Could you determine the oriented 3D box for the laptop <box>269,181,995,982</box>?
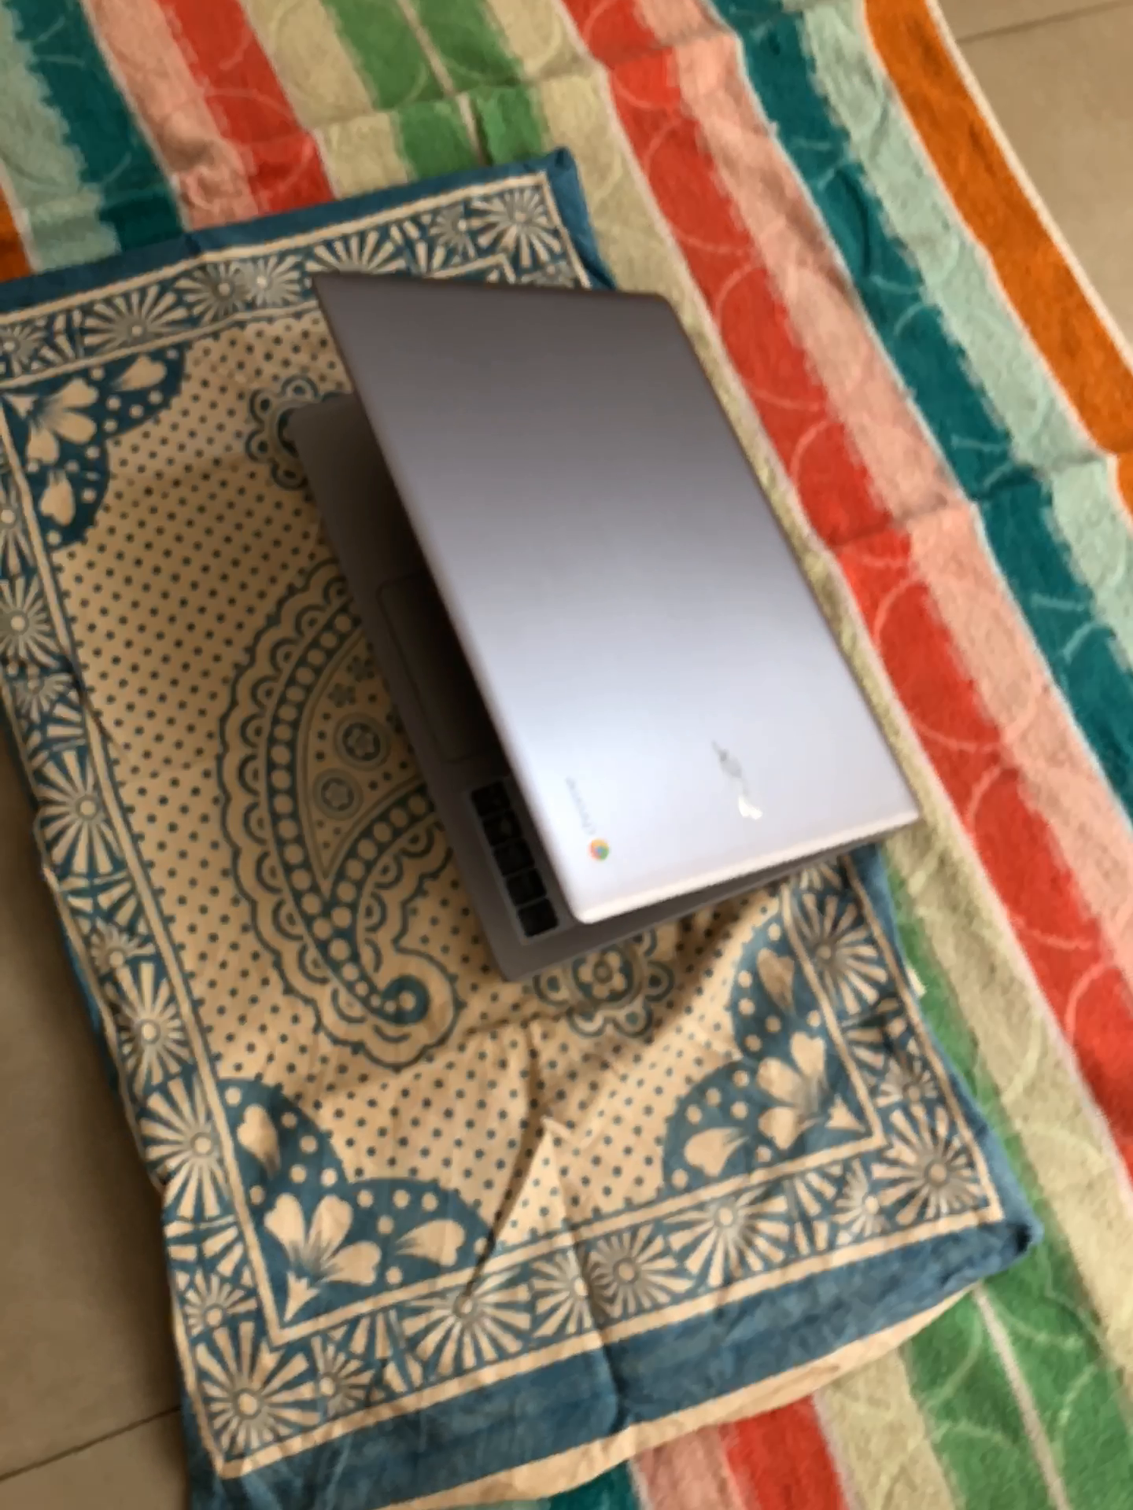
[{"bbox_3d":[0.019,-0.088,0.615,0.222,0.105,0.320,-20,75,-9],"label":"laptop"}]
